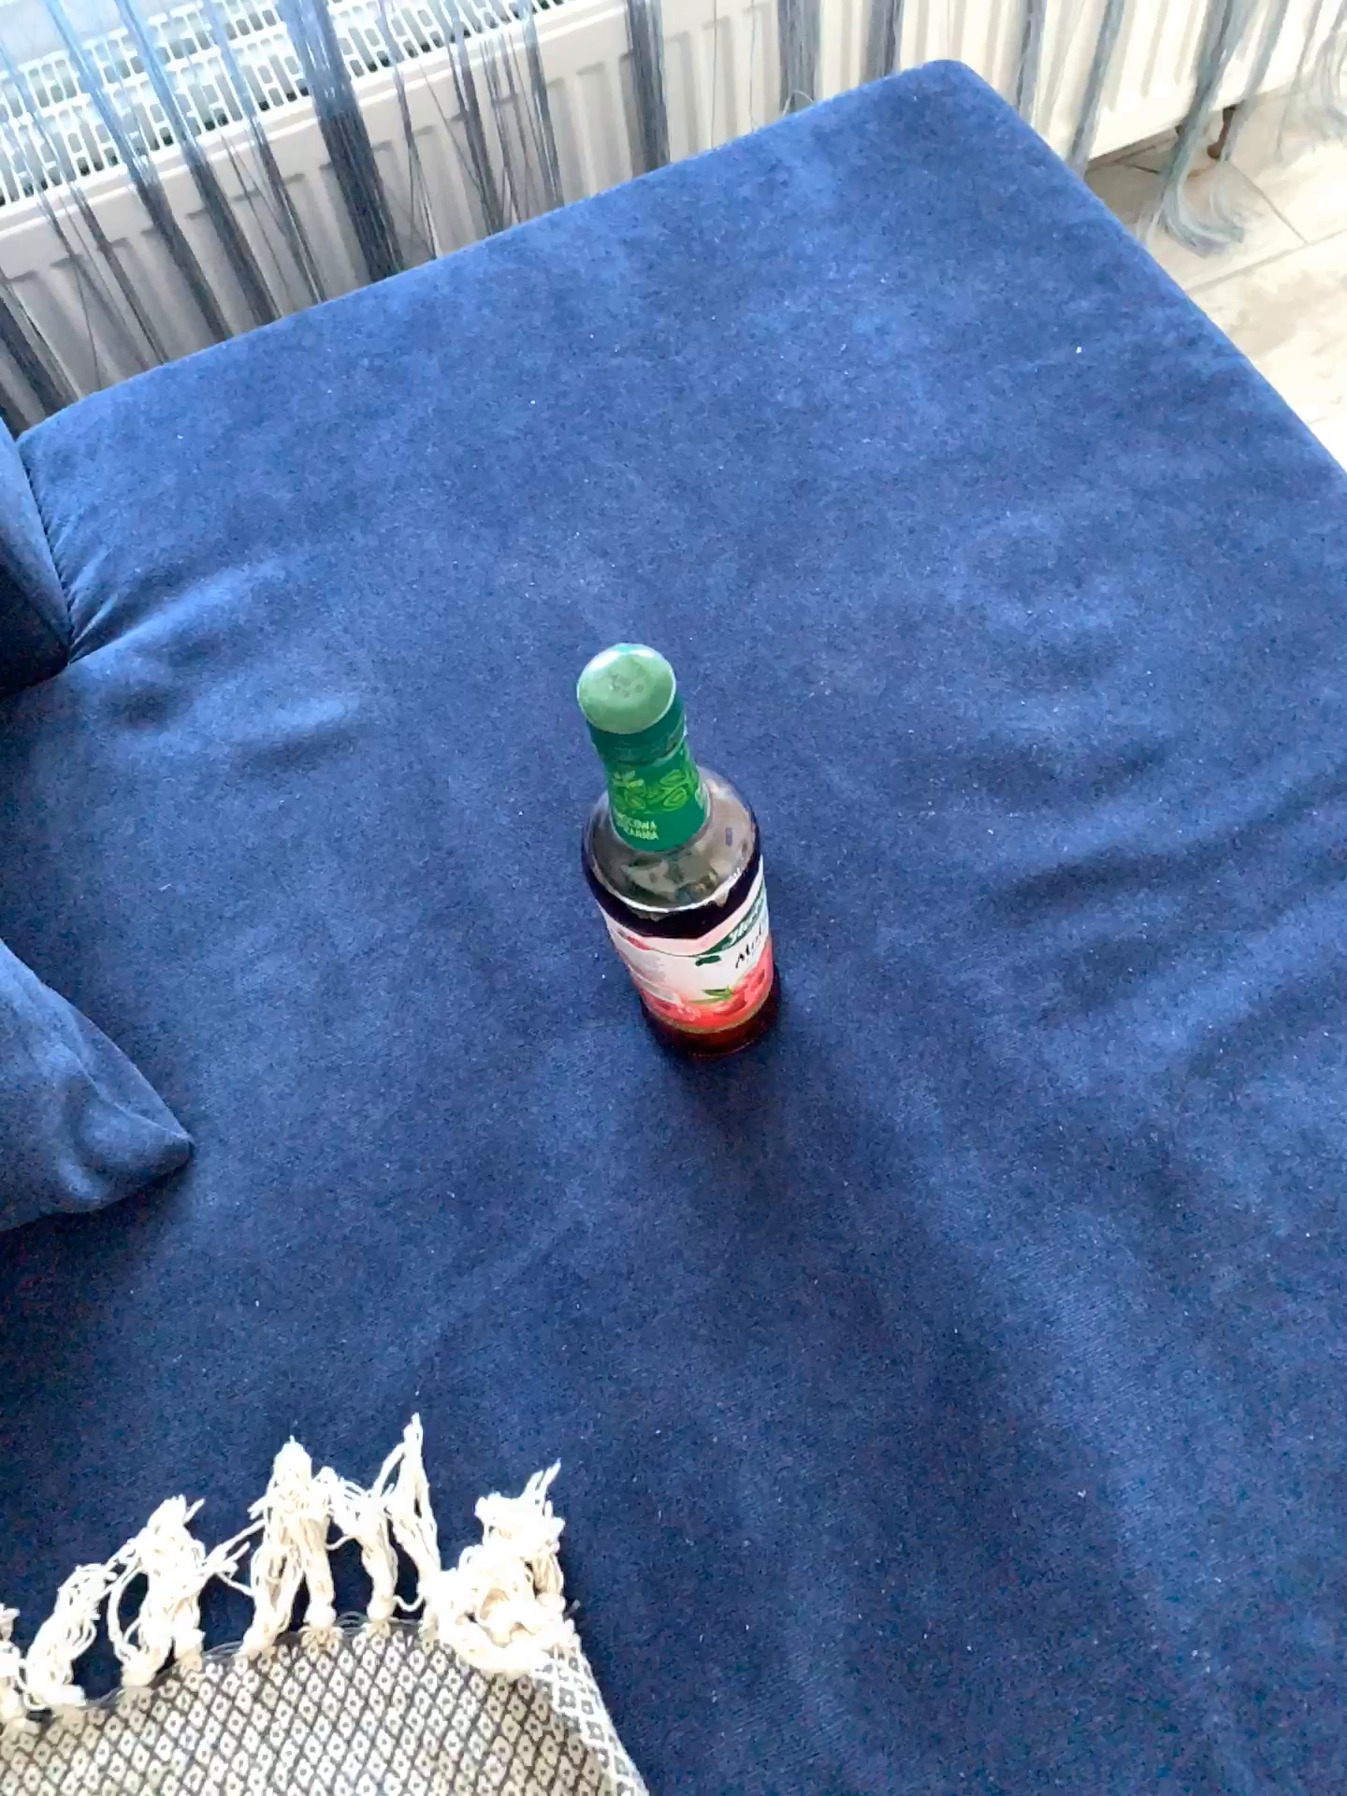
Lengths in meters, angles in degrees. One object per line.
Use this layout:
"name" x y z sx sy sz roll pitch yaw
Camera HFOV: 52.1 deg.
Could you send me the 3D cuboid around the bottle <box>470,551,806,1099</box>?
"bottle" 0.001 -0.008 0.497 0.070 0.250 0.070 -2 65 4
